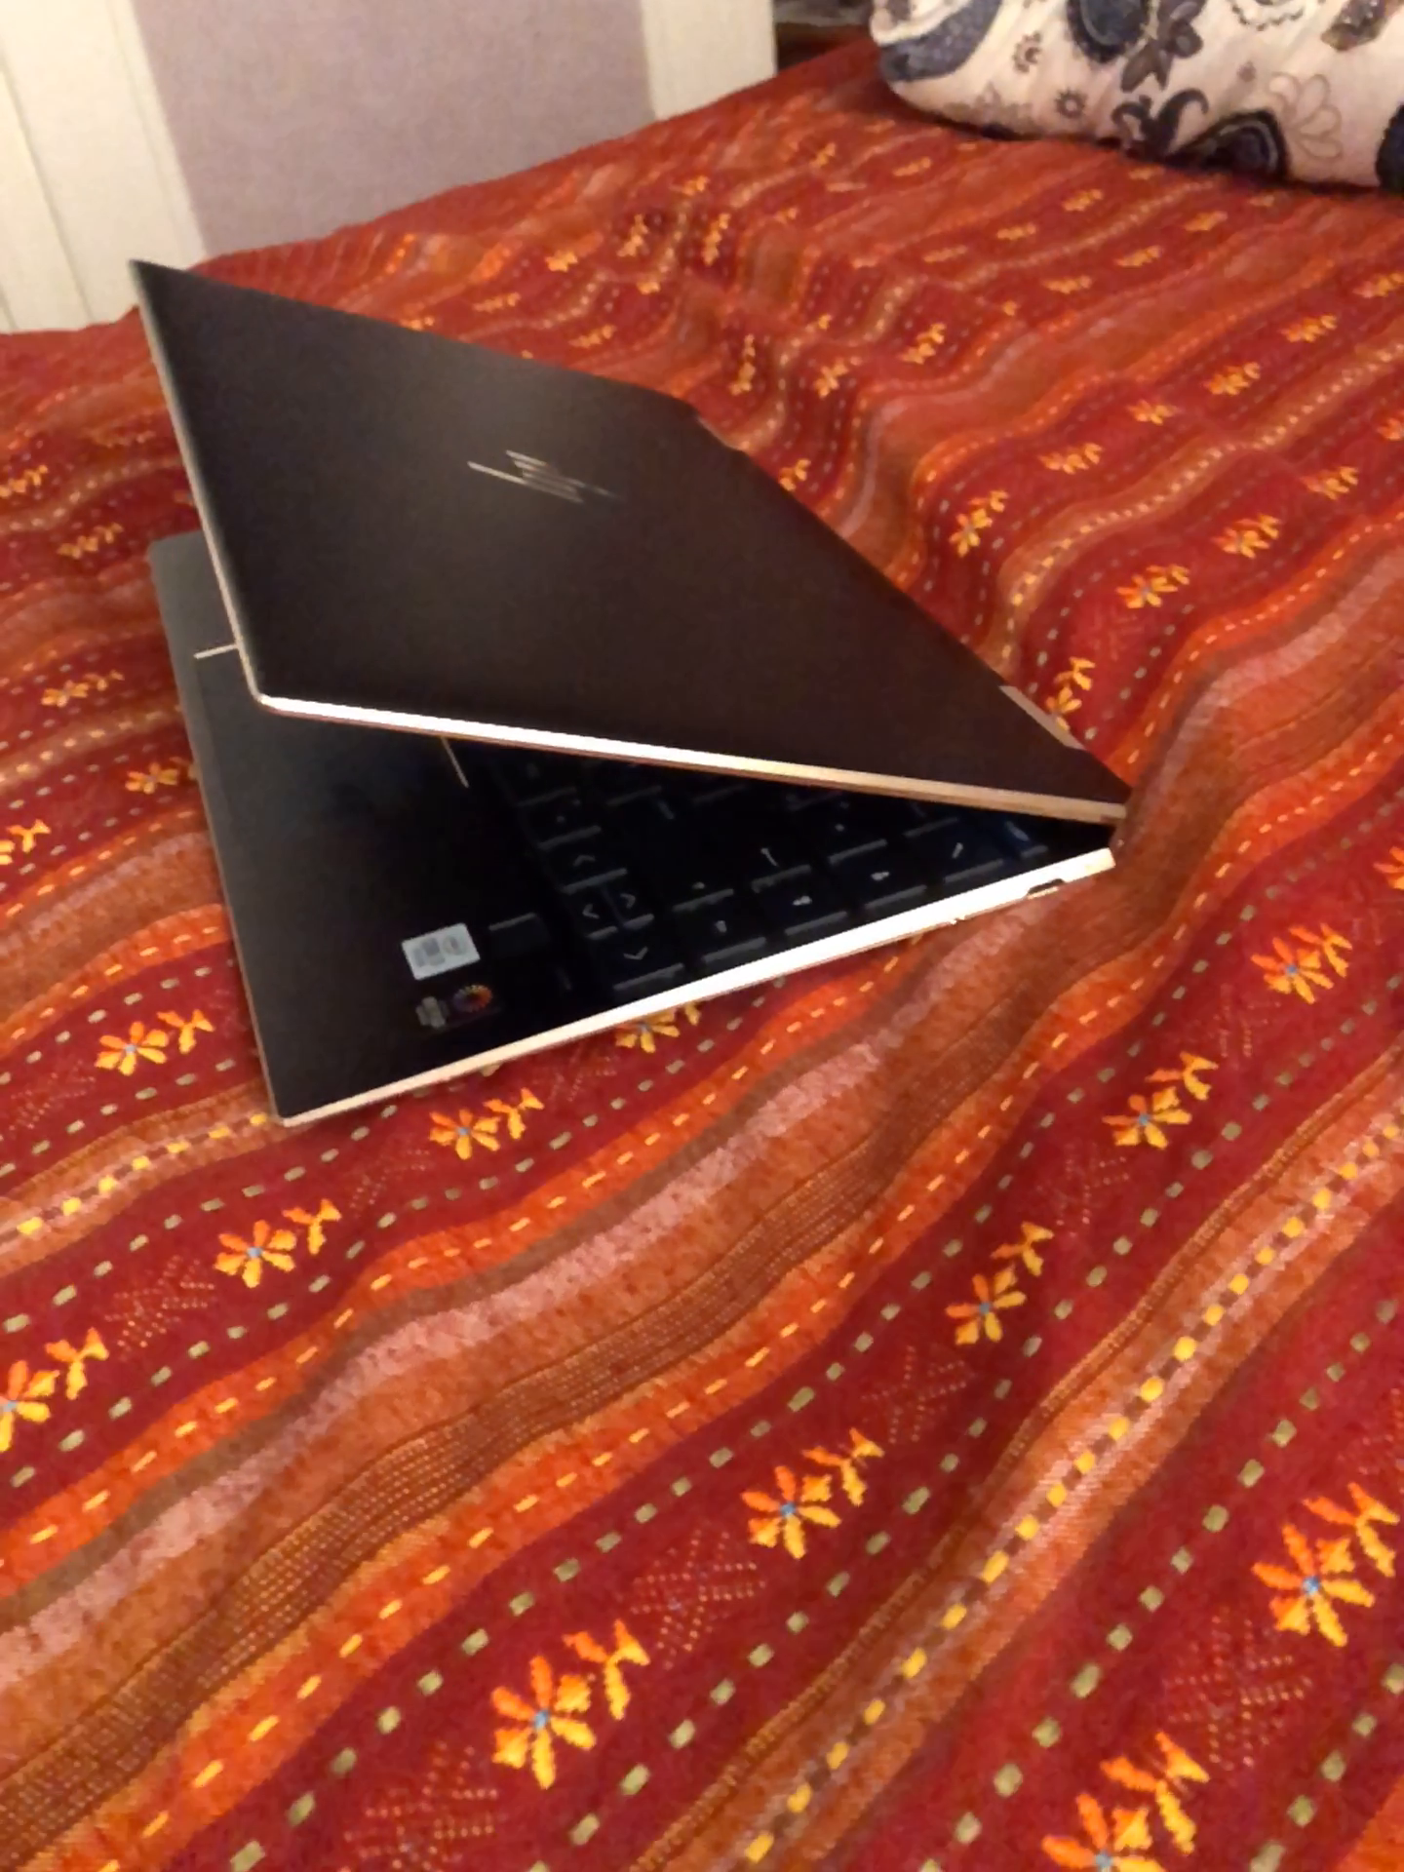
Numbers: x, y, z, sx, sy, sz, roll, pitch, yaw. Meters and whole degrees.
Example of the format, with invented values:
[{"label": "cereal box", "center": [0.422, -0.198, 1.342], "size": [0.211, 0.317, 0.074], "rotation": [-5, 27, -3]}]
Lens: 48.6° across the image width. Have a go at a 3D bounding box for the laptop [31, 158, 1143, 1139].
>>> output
[{"label": "laptop", "center": [-0.051, -0.120, 0.421], "size": [0.203, 0.101, 0.327], "rotation": [-15, 37, -14]}]
